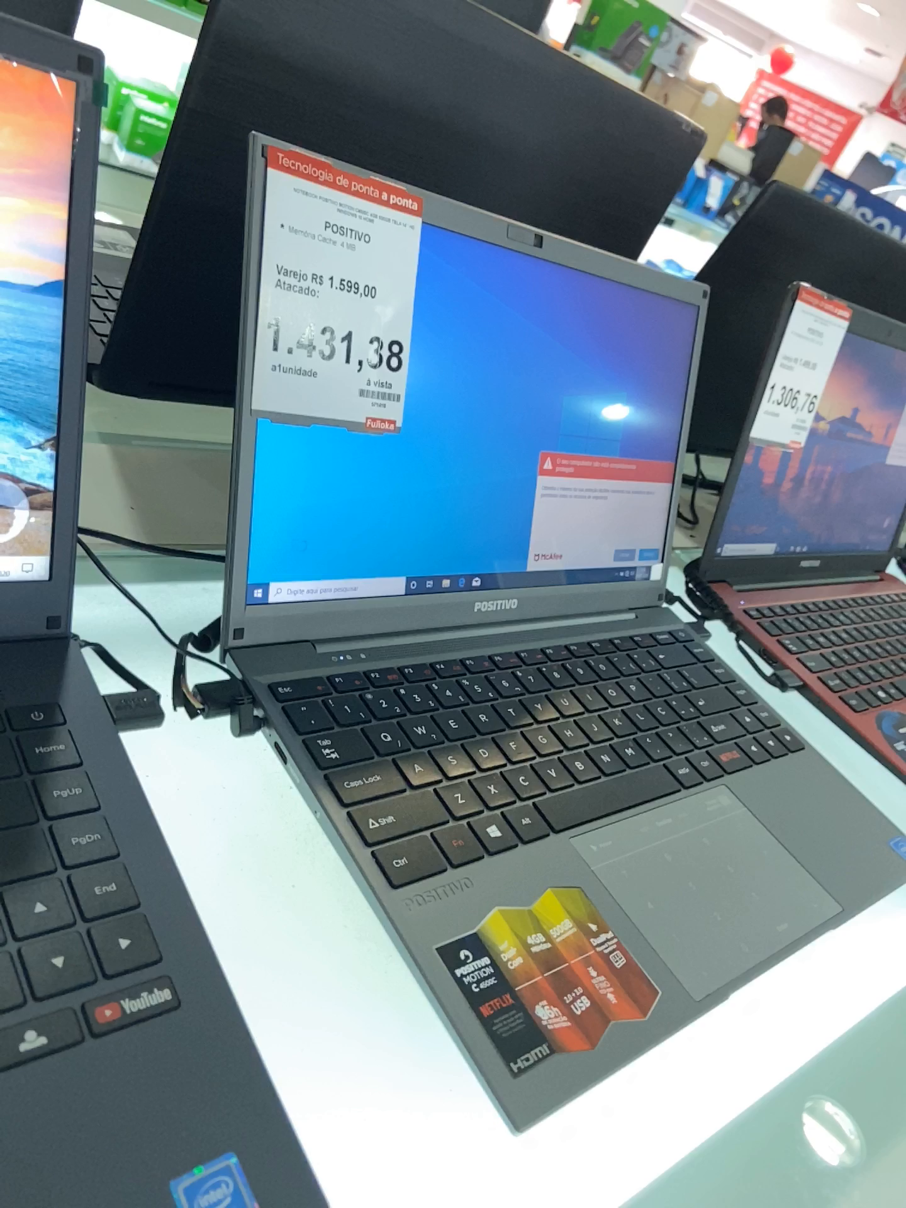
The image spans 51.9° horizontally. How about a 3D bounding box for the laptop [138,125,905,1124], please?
[{"bbox_3d":[0.089,-0.022,0.440,0.331,0.183,0.319,-3,42,-43],"label":"laptop"}]
